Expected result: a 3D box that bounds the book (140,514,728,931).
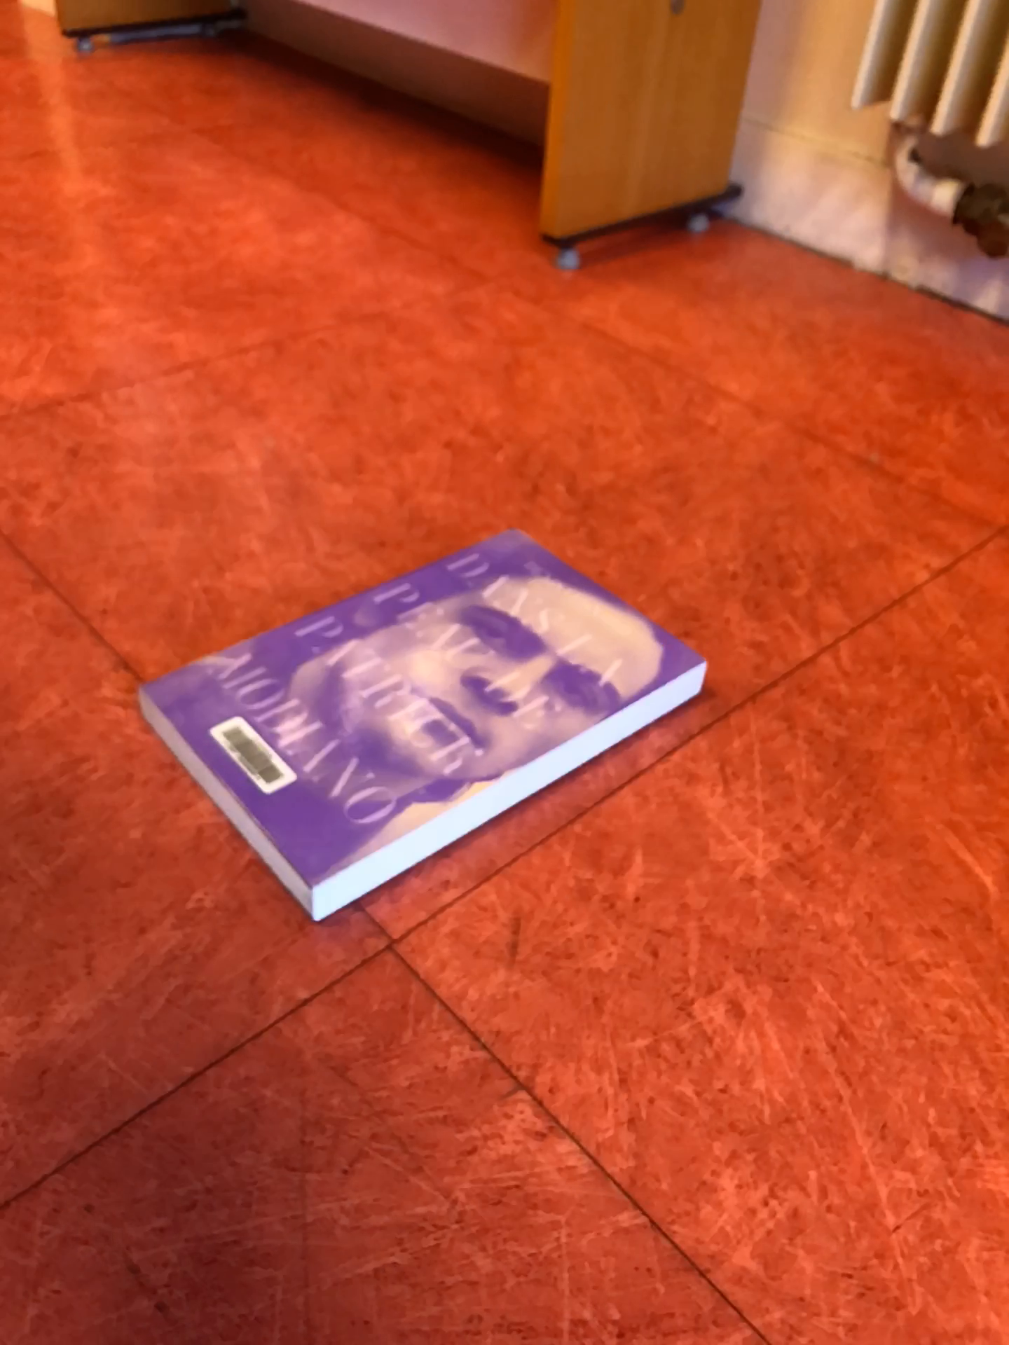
[{"bbox_3d":[-0.029,0.007,0.537,0.234,0.030,0.150,-26,49,-31],"label":"book"}]
